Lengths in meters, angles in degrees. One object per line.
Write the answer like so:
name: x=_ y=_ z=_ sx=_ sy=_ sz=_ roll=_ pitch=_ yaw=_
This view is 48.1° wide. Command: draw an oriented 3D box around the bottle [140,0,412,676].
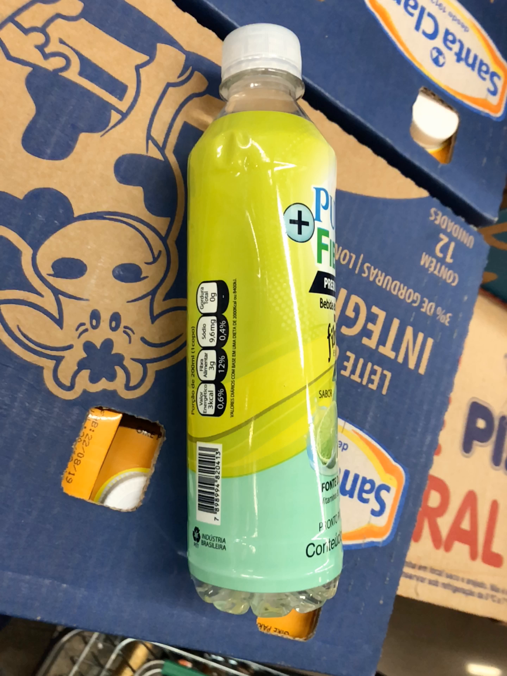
bottle: x=0.003 y=-0.025 z=0.213 sx=0.070 sy=0.060 sz=0.250 roll=1 pitch=83 yaw=-29
